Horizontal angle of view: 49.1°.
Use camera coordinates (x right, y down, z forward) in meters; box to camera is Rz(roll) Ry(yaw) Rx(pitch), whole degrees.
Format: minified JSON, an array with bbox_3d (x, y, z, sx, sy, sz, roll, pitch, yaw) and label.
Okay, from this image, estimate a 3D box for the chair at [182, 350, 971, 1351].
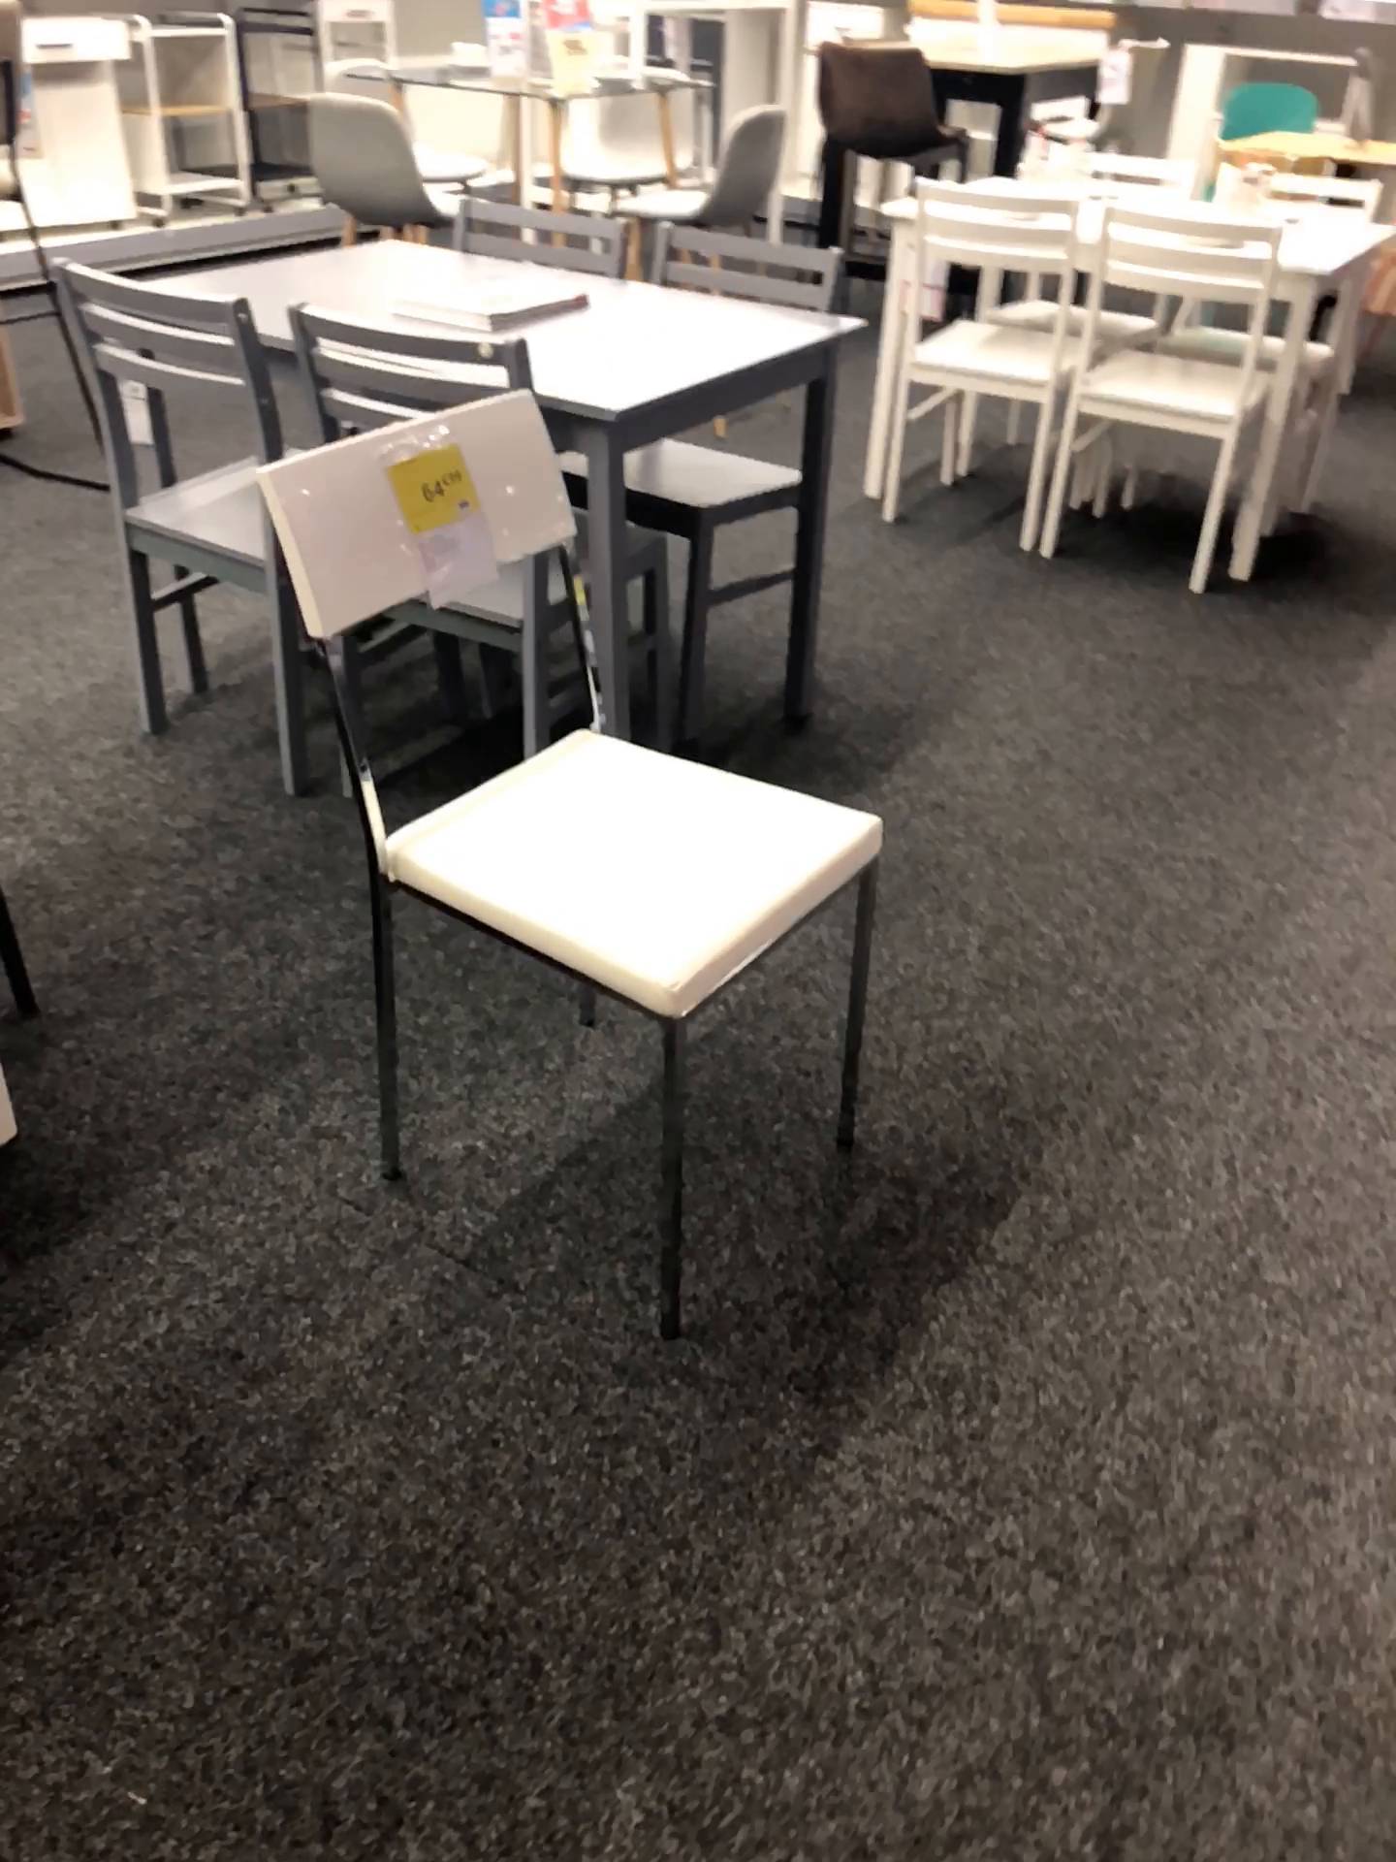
[{"bbox_3d":[-0.111,-0.113,1.636,0.540,0.815,0.503,20,36,25],"label":"chair"}]
